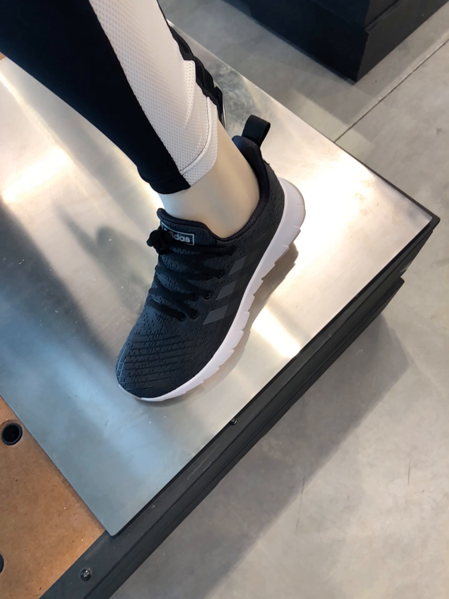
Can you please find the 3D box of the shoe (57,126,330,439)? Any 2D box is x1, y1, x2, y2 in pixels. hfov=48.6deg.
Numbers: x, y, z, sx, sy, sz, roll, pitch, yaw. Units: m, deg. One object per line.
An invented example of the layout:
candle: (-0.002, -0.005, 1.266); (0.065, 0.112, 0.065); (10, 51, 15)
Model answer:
shoe: (-0.019, -0.018, 0.512); (0.110, 0.100, 0.290); (31, 79, 23)
